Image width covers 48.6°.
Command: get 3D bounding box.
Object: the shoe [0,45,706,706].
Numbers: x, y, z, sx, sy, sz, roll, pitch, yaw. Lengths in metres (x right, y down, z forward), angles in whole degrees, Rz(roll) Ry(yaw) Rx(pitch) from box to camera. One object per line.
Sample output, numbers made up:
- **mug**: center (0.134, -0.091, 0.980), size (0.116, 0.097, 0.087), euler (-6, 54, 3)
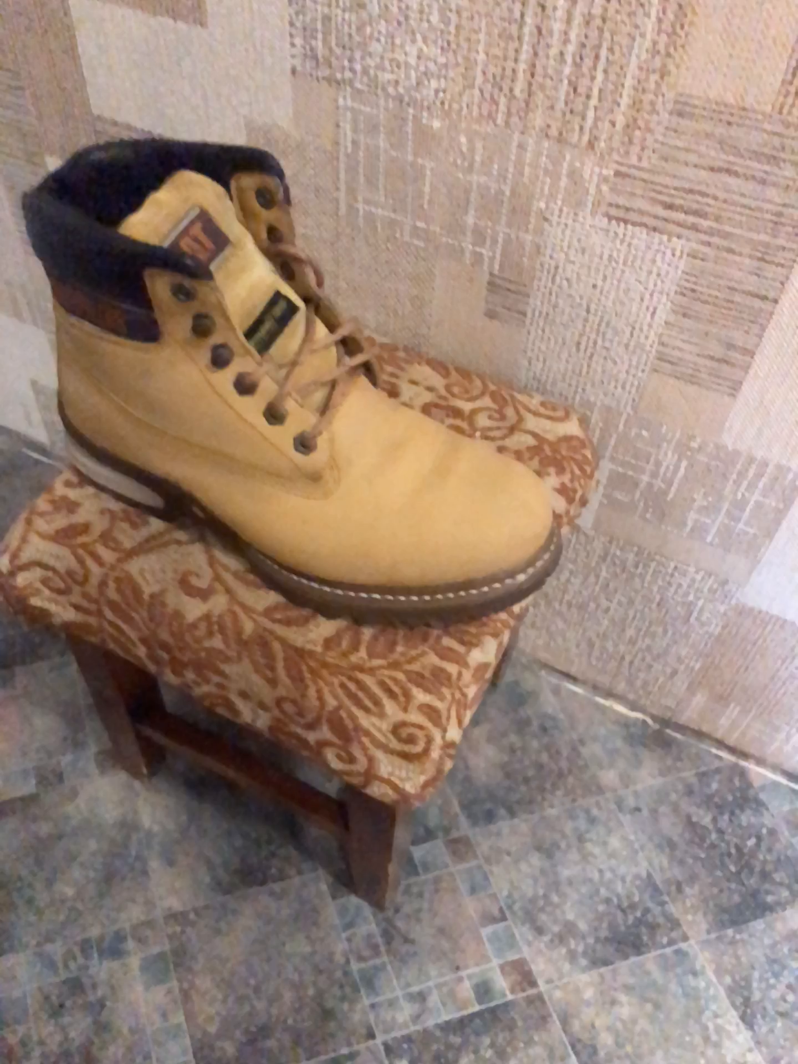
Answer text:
- **shoe**: center (-0.047, -0.079, 0.435), size (0.310, 0.189, 0.140), euler (22, 52, 13)
